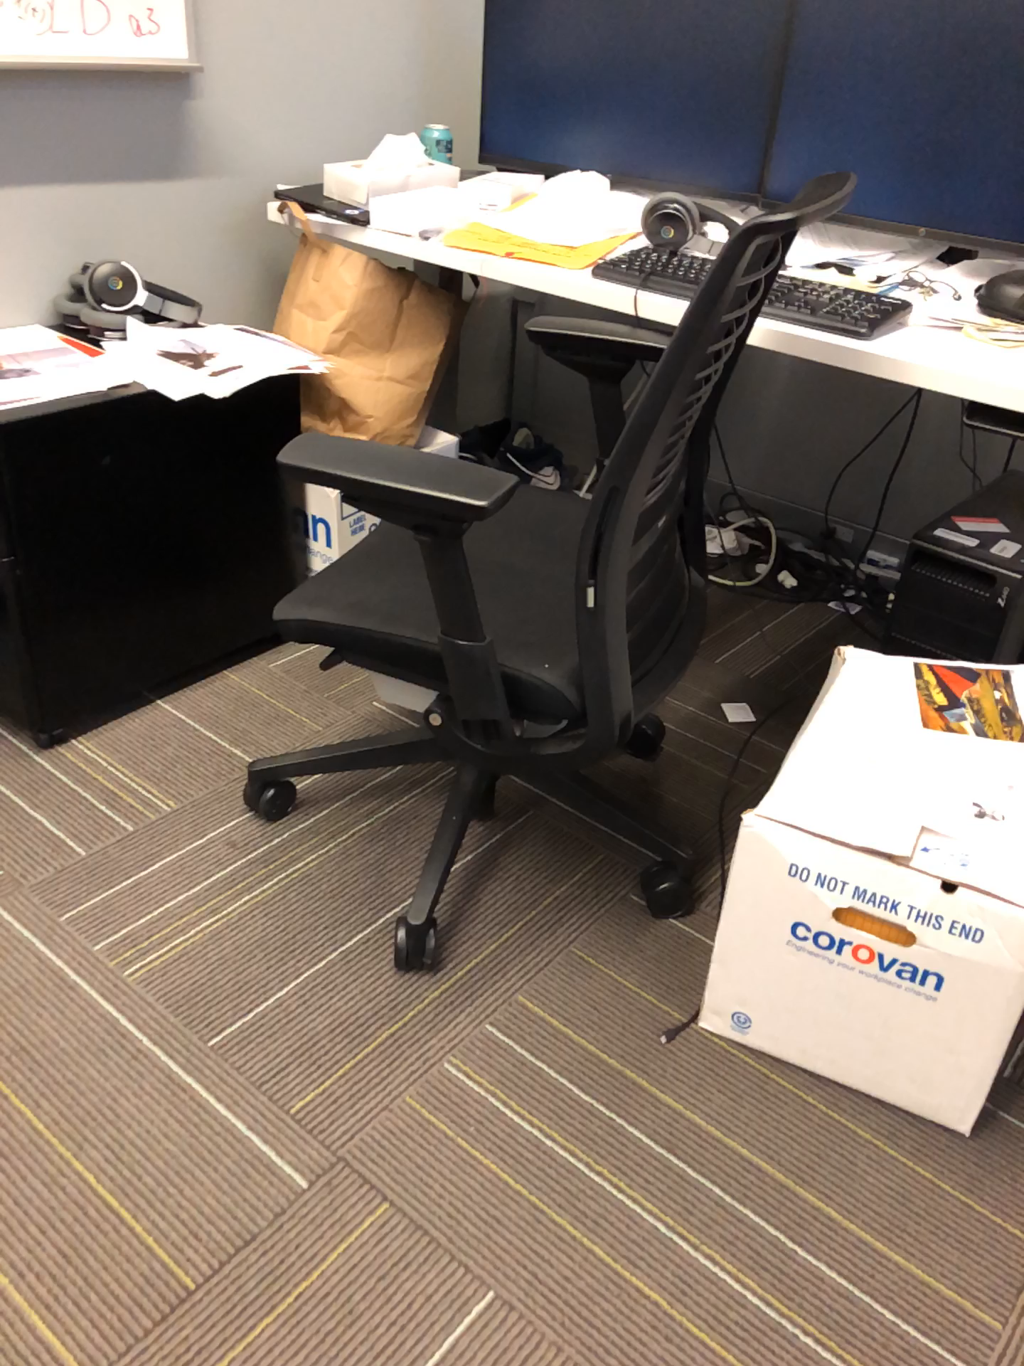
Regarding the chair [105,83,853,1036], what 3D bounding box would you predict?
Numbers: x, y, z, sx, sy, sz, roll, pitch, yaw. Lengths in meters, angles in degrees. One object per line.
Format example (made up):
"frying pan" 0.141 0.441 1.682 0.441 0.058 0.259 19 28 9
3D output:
"chair" -0.002 -0.208 1.444 0.610 0.935 0.674 14 32 14
